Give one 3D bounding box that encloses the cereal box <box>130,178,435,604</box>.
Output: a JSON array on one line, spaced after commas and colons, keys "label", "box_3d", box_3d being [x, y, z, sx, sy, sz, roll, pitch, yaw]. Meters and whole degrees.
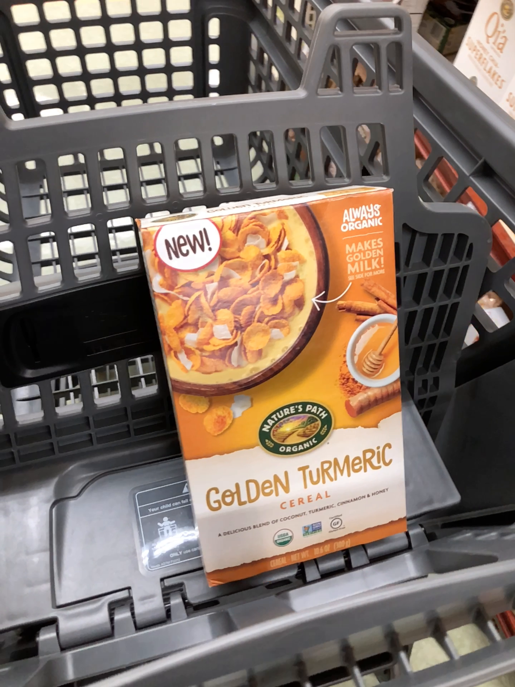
[{"label": "cereal box", "box_3d": [0.025, 0.031, 0.416, 0.180, 0.270, 0.070, -12, 18, -12]}]
